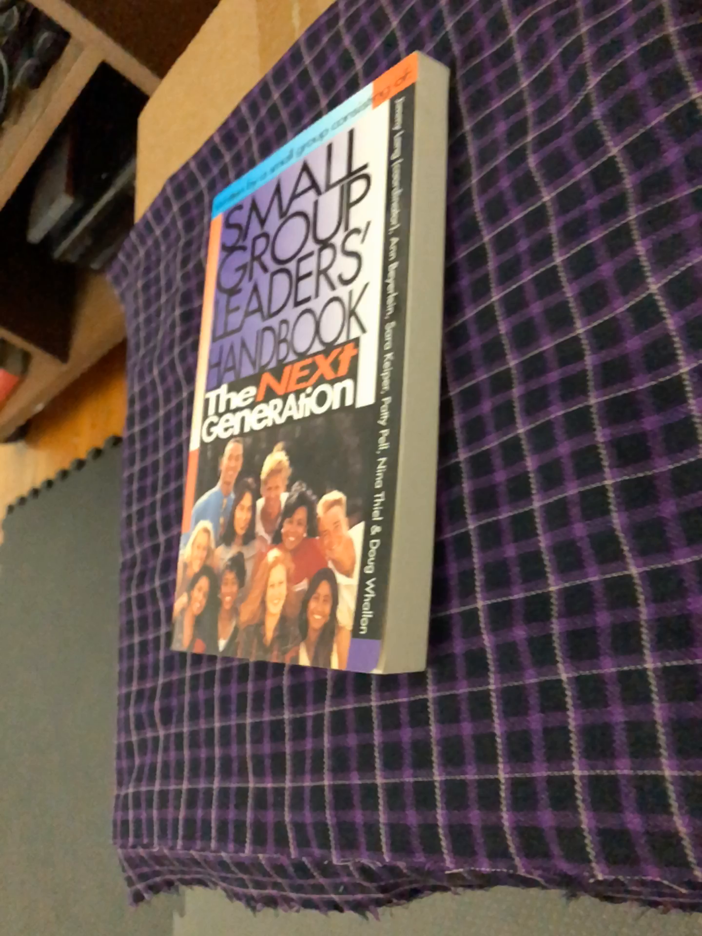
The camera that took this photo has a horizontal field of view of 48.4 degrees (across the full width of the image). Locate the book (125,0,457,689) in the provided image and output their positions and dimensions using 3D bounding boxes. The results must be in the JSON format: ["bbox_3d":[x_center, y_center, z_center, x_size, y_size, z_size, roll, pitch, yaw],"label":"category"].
[{"bbox_3d":[-0.028,-0.037,0.298,0.151,0.030,0.220,-11,72,49],"label":"book"}]
